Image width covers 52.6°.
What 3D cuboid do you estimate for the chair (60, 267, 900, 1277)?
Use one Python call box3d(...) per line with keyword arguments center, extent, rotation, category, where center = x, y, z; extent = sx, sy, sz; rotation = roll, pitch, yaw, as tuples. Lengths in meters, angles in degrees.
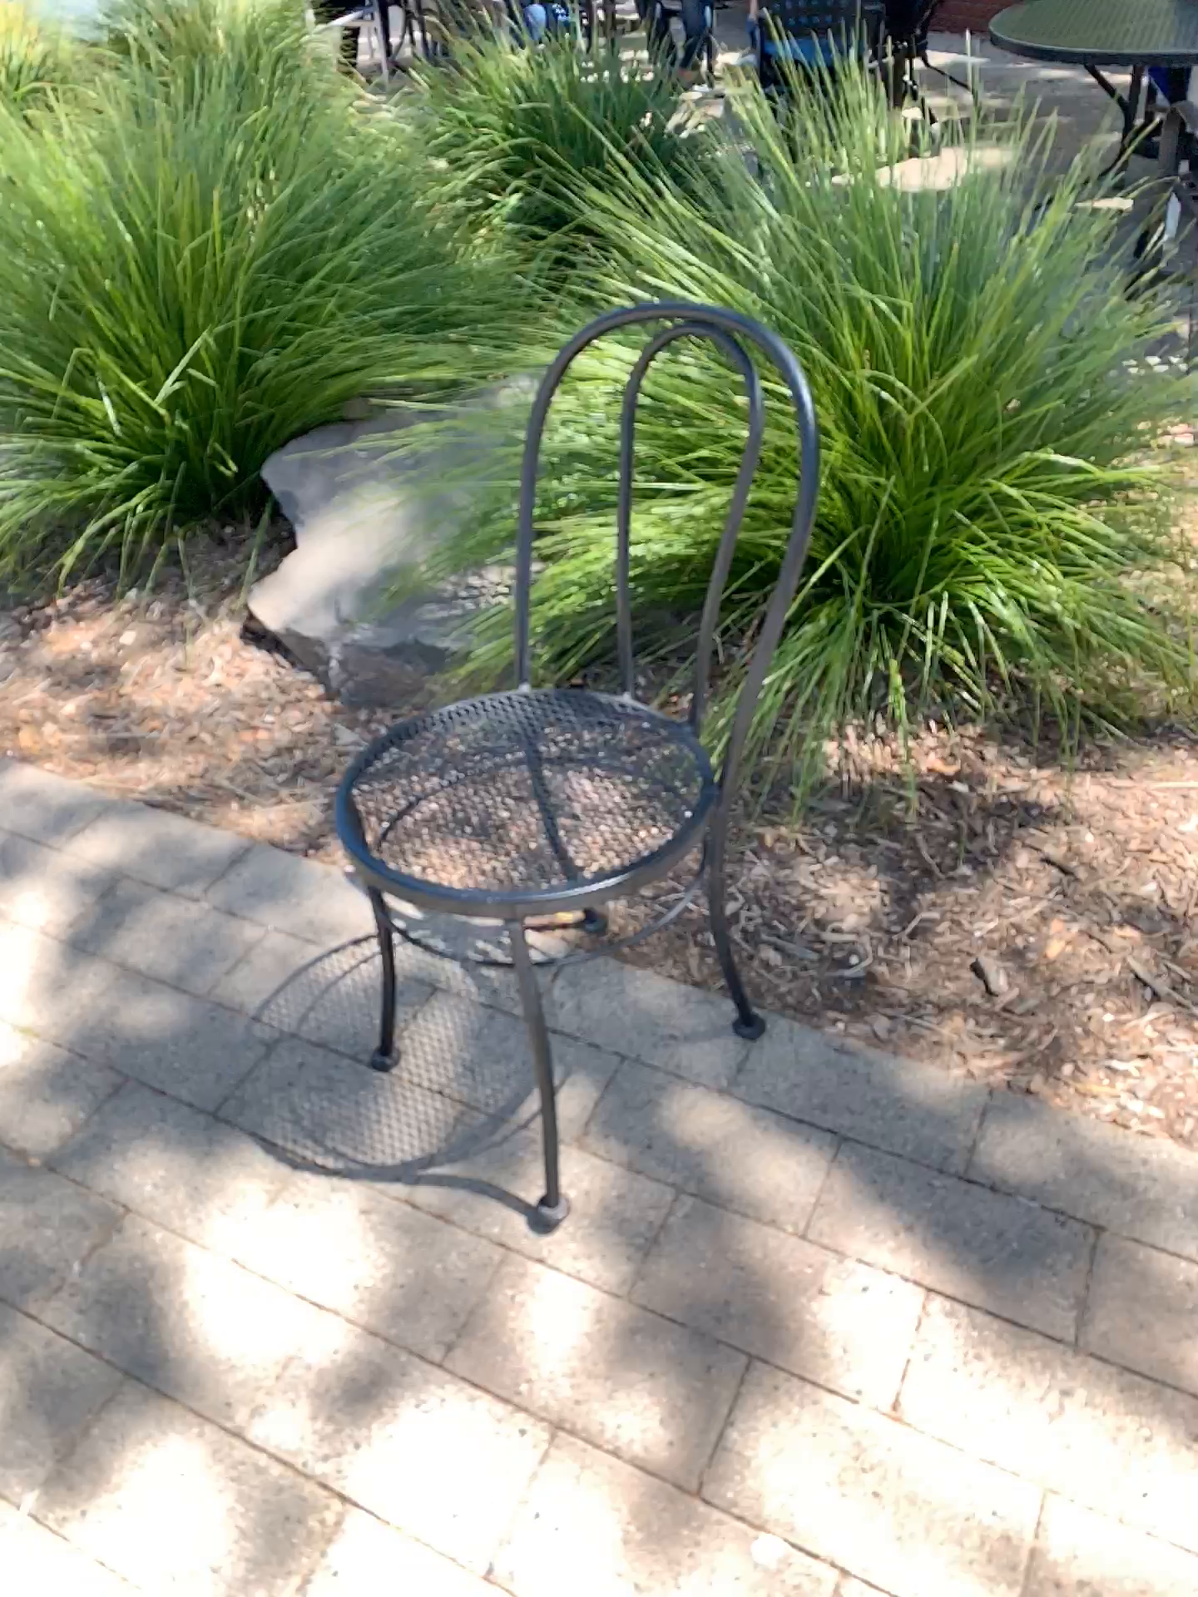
box3d(center=(-0.074, -0.041, 1.276), extent=(0.473, 0.788, 0.538), rotation=(29, 49, 34), category="chair")
